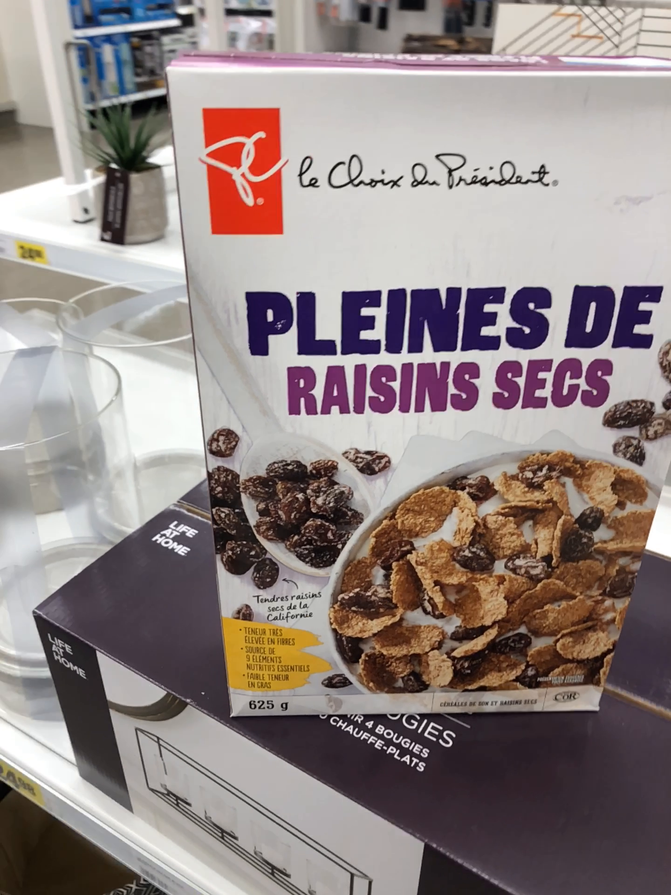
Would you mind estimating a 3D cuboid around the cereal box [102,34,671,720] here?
[{"bbox_3d":[0.031,-0.005,0.322,0.200,0.299,0.060,0,33,-1],"label":"cereal box"}]
